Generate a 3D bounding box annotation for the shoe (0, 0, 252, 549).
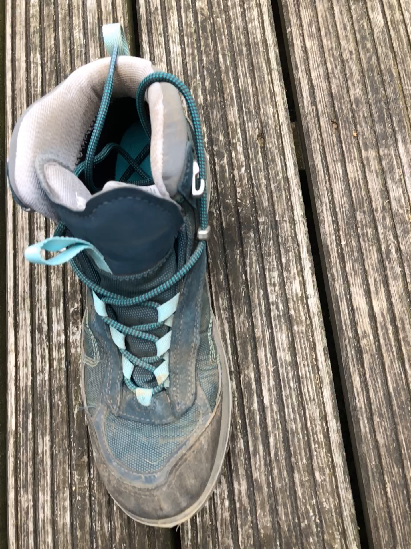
[{"bbox_3d":[-0.048,0.010,0.270,0.120,0.120,0.280,-6,77,7],"label":"shoe"}]
